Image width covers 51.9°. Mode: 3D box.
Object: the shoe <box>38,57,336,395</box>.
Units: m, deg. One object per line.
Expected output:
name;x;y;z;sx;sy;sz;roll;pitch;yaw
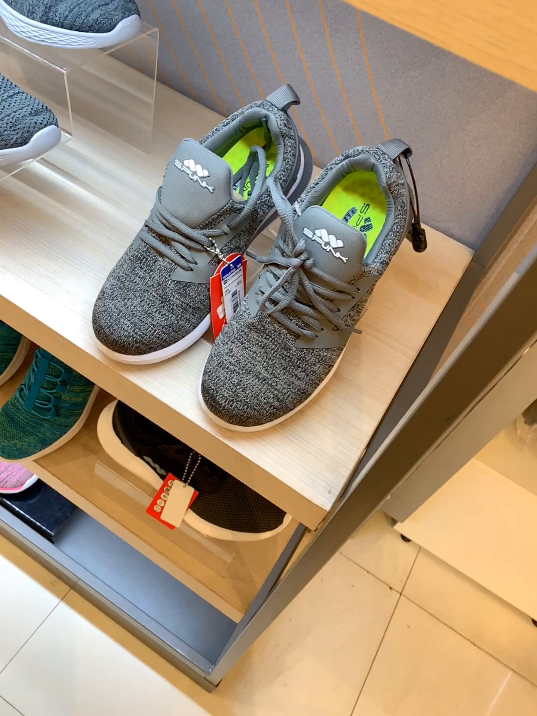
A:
shoe;-0.053;-0.096;0.428;0.080;0.080;0.240;36;85;14

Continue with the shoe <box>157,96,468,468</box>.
shoe;0.033;-0.050;0.406;0.090;0.080;0.240;33;89;9
